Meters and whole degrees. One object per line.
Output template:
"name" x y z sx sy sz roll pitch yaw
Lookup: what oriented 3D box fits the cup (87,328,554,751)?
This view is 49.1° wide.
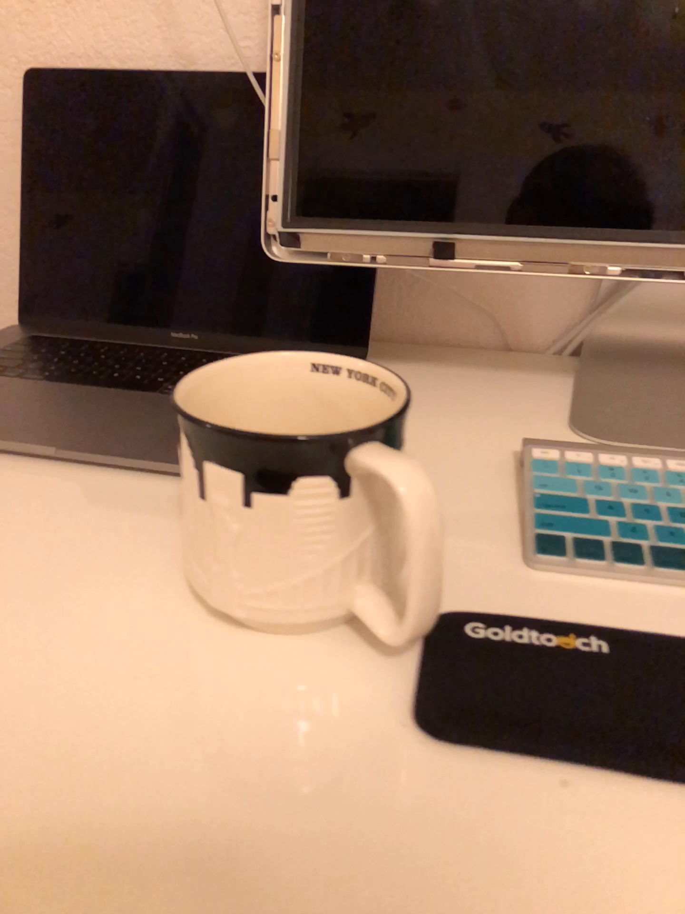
"cup" -0.015 0.016 0.321 0.110 0.089 0.161 -21 34 -38
